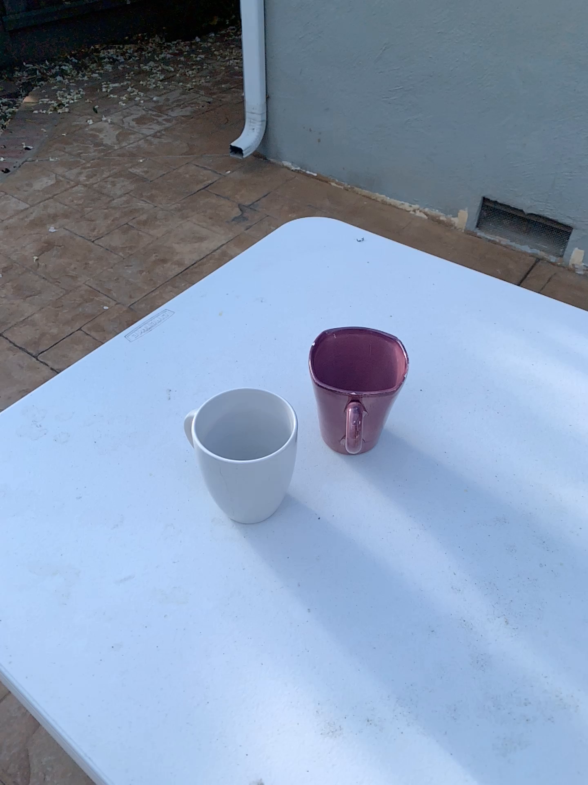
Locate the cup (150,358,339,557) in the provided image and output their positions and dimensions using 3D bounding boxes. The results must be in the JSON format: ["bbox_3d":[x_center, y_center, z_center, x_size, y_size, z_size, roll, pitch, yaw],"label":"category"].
[{"bbox_3d":[-0.047,0.059,0.581,0.150,0.099,0.090,29,51,26],"label":"cup"}]

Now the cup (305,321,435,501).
[{"bbox_3d":[0.069,0.017,0.609,0.110,0.109,0.141,2,44,1],"label":"cup"}]
